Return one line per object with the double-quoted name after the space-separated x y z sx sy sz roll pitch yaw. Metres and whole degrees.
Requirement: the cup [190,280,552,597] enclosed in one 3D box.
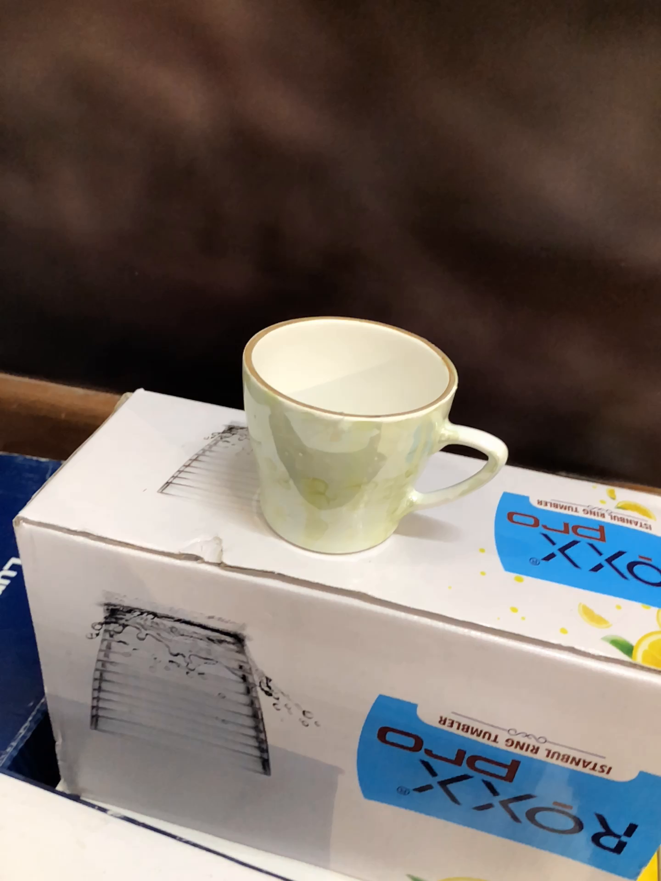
0.013 -0.004 0.245 0.100 0.060 0.070 10 35 5 "cup"
